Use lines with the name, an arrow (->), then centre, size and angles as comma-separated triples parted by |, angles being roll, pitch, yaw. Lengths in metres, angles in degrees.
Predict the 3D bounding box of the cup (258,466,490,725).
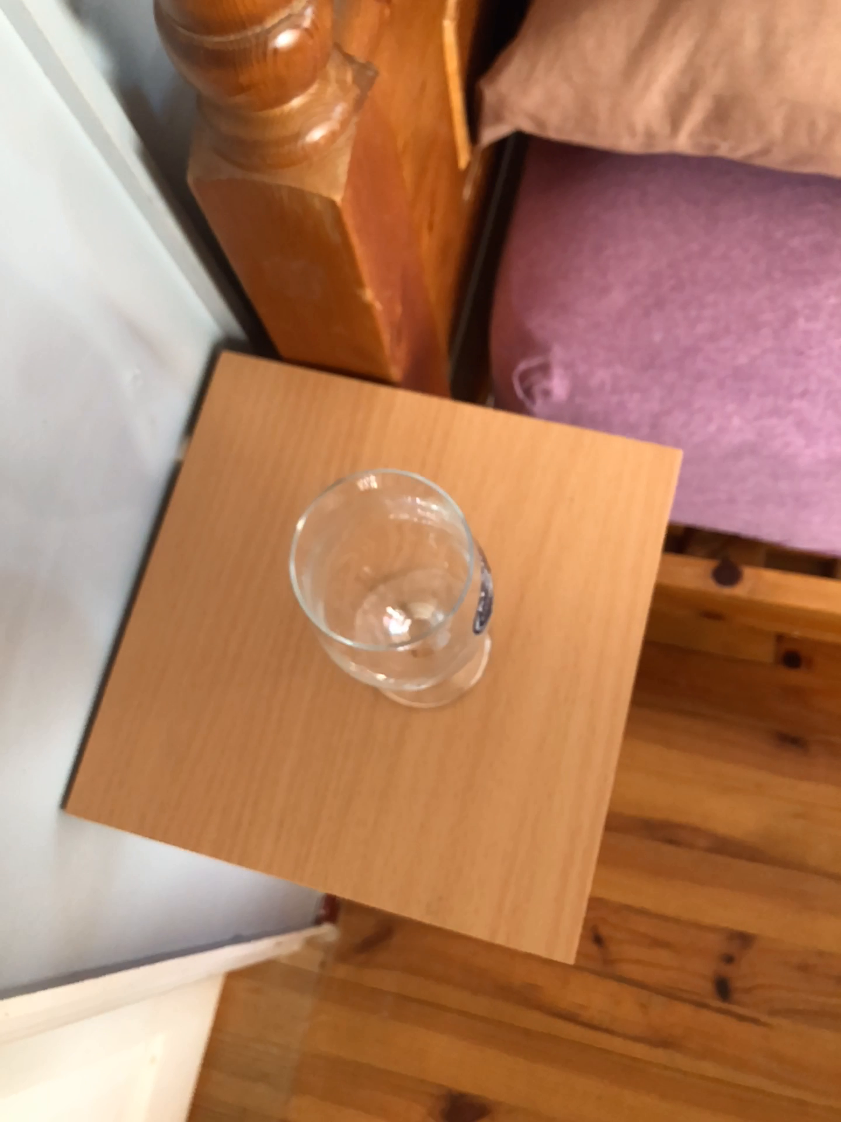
cup -> -0.010, 0.024, 0.379 | 0.068, 0.167, 0.068 | -1, 76, 5
